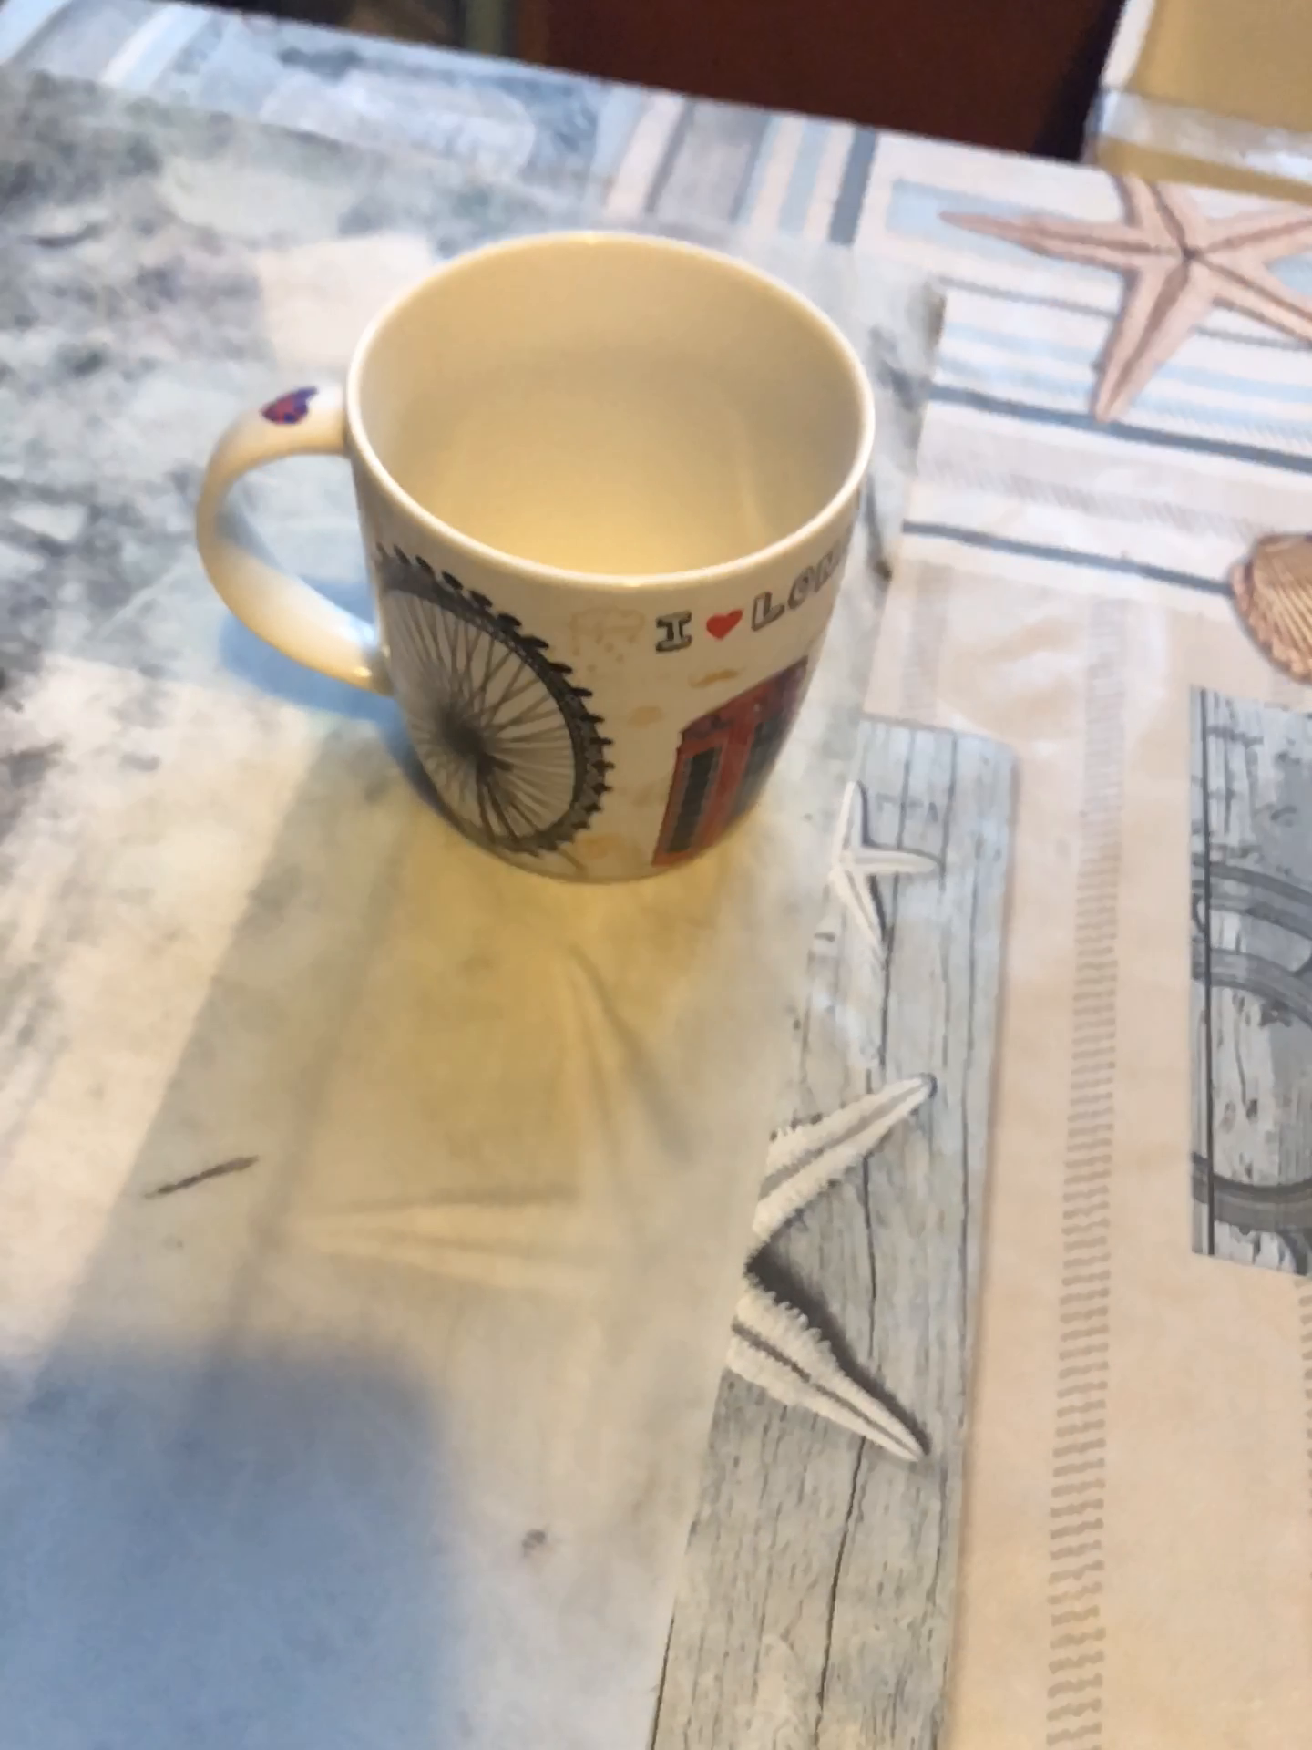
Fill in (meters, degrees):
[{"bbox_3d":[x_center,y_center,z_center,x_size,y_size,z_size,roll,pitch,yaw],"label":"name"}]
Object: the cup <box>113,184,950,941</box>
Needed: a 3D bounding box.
[{"bbox_3d":[-0.016,-0.056,0.271,0.121,0.086,0.085,9,52,1],"label":"cup"}]
